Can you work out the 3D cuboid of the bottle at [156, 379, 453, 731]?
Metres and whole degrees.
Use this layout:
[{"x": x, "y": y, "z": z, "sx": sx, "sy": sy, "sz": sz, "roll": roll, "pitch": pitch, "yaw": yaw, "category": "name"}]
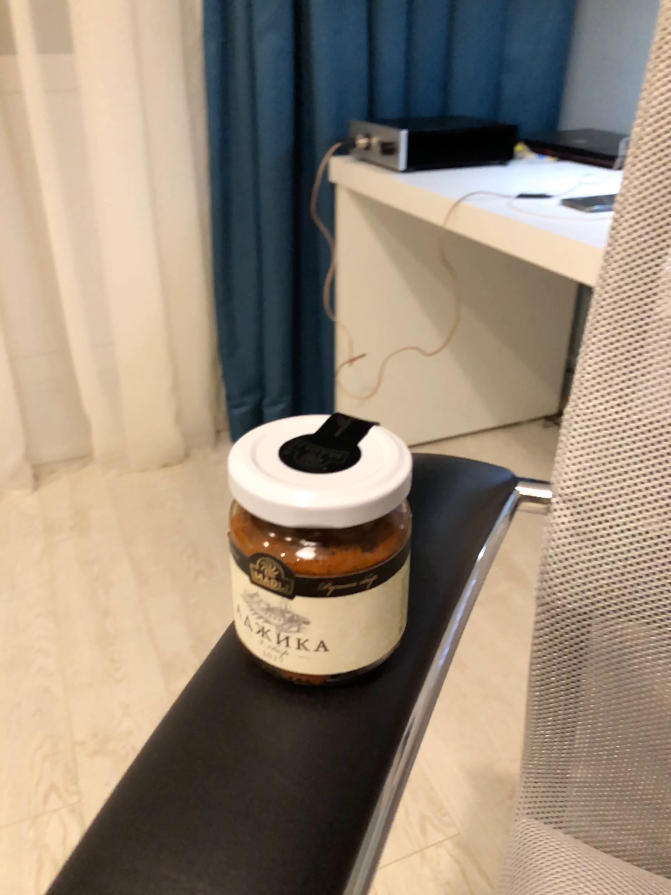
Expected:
[{"x": -0.007, "y": 0.028, "z": 0.225, "sx": 0.060, "sy": 0.070, "sz": 0.060, "roll": 17, "pitch": 33, "yaw": 30, "category": "bottle"}]
